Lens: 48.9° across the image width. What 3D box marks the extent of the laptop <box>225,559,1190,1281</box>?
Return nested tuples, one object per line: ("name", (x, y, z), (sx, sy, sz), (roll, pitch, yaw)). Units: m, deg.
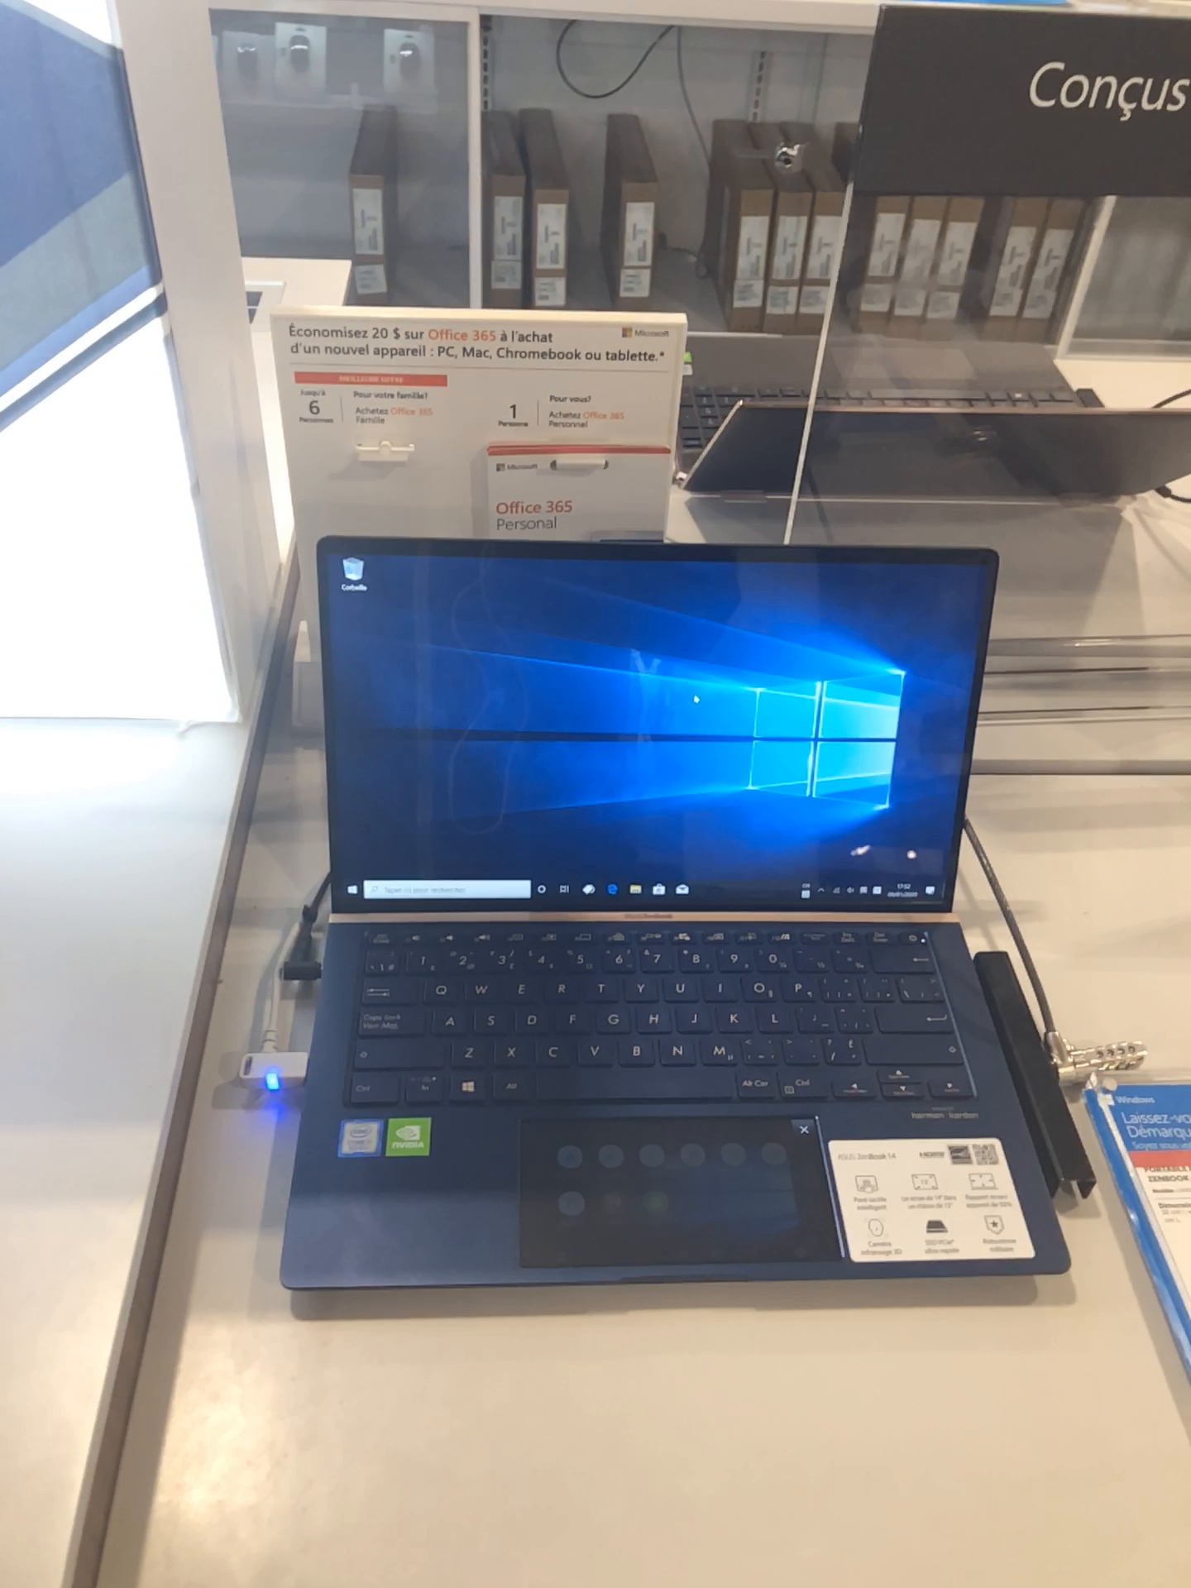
("laptop", (0.033, 0.043, 0.553), (0.308, 0.179, 0.254), (0, 40, -4))
